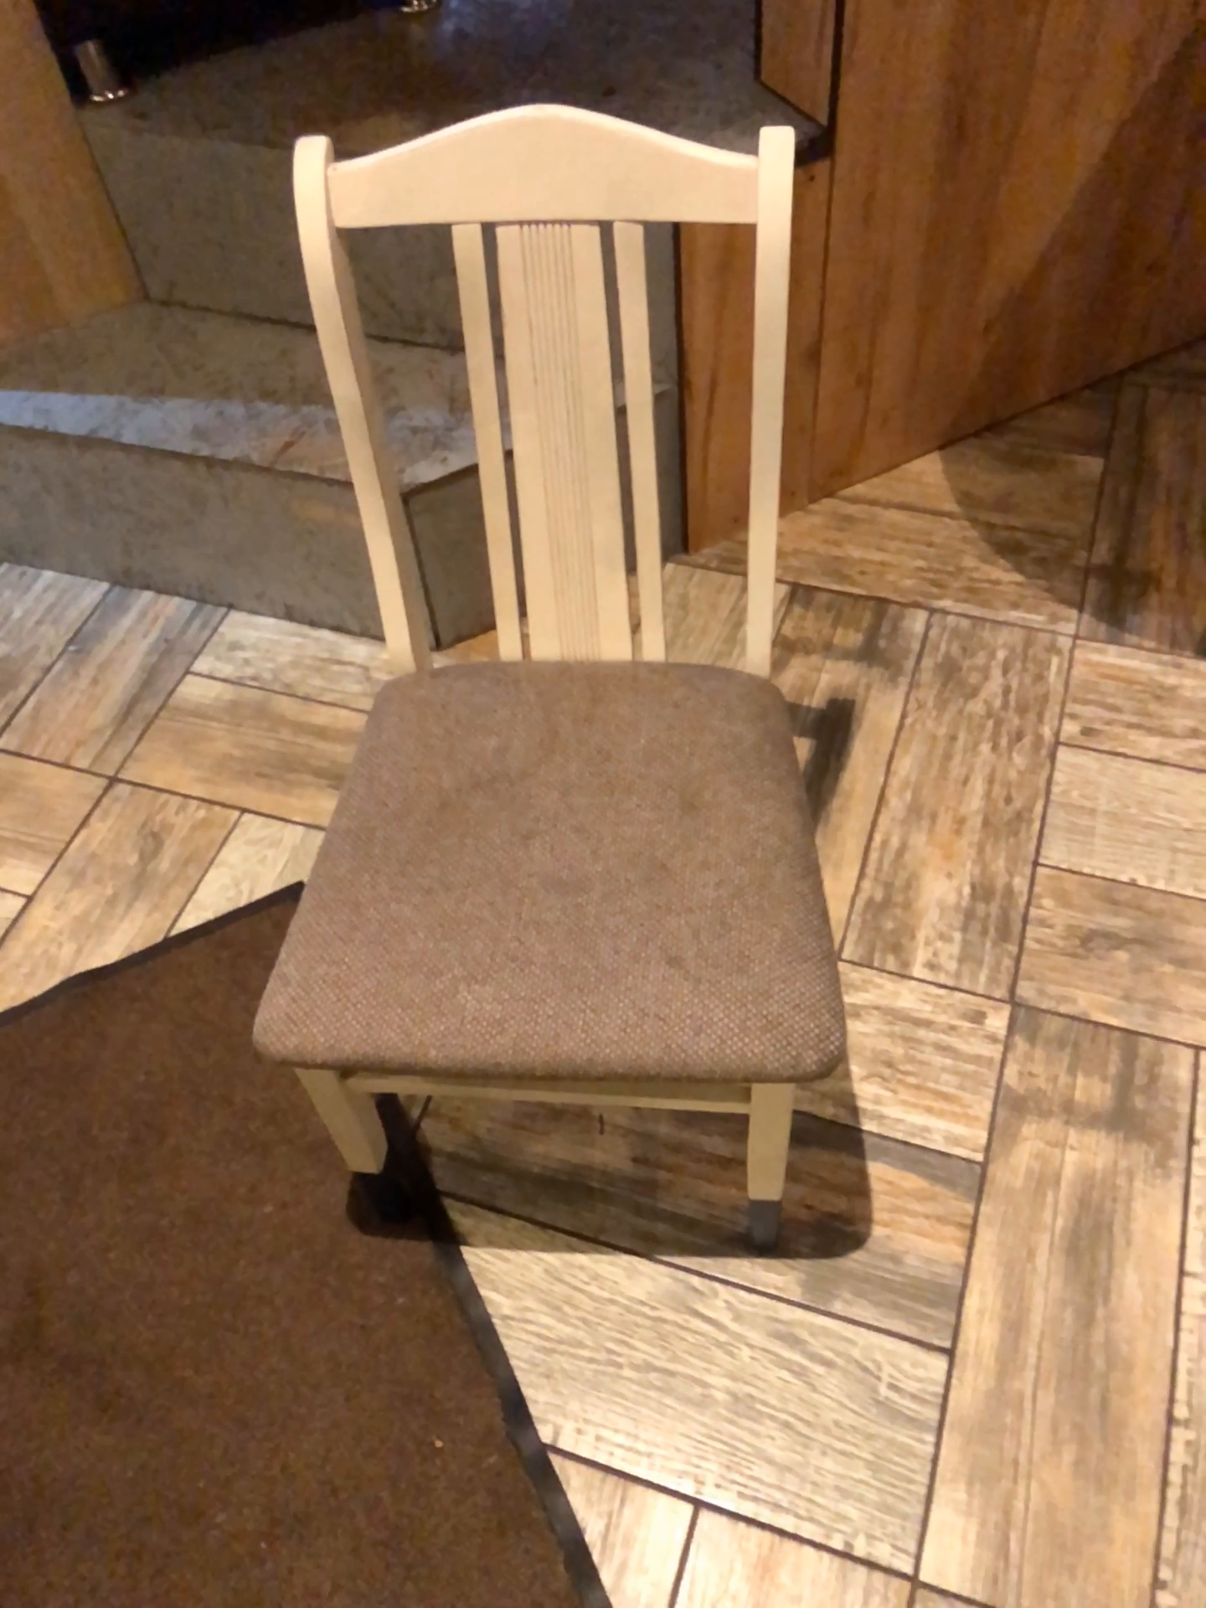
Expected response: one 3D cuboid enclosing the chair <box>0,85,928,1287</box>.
[{"bbox_3d":[-0.041,-0.015,1.136,0.479,0.916,0.521,1,52,6],"label":"chair"}]
